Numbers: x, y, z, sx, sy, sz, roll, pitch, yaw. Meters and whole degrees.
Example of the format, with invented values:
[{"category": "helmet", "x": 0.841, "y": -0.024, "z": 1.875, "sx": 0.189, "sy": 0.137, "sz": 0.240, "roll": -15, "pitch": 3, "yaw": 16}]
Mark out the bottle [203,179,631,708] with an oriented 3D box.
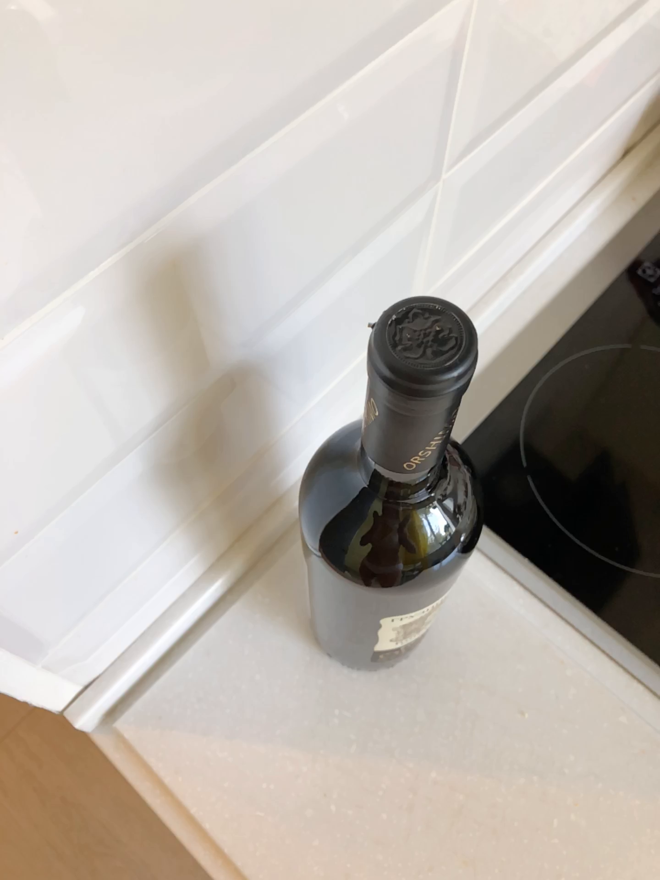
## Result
[{"category": "bottle", "x": 0.023, "y": 0.040, "z": 0.323, "sx": 0.080, "sy": 0.299, "sz": 0.080, "roll": 0, "pitch": 63, "yaw": 0}]
